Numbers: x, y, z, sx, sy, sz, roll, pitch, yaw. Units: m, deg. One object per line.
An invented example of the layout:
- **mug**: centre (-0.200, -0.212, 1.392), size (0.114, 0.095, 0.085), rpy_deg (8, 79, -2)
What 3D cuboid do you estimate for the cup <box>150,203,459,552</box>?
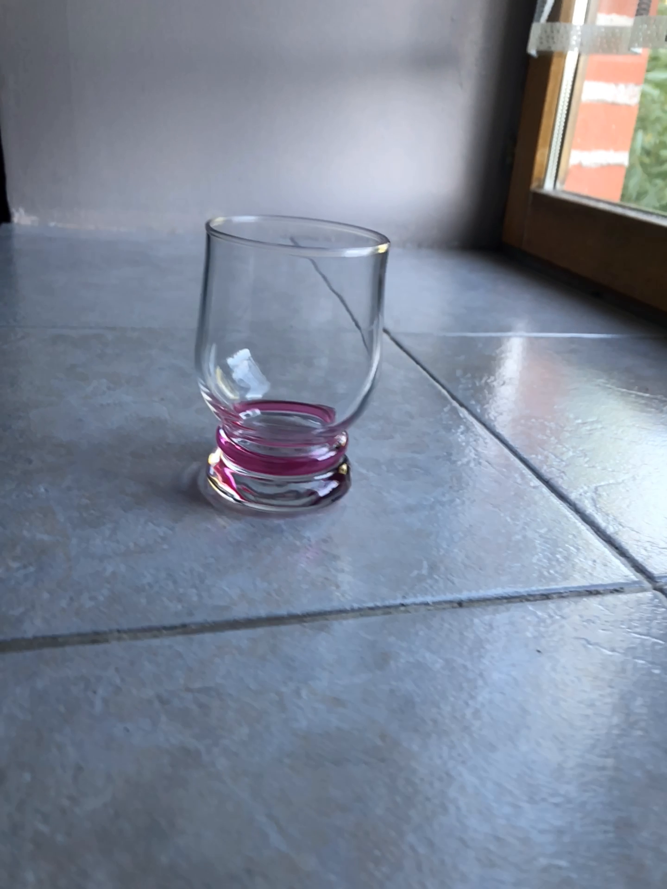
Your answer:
- **cup**: centre (-0.013, -0.033, 0.288), size (0.079, 0.102, 0.079), rpy_deg (4, 25, -2)
